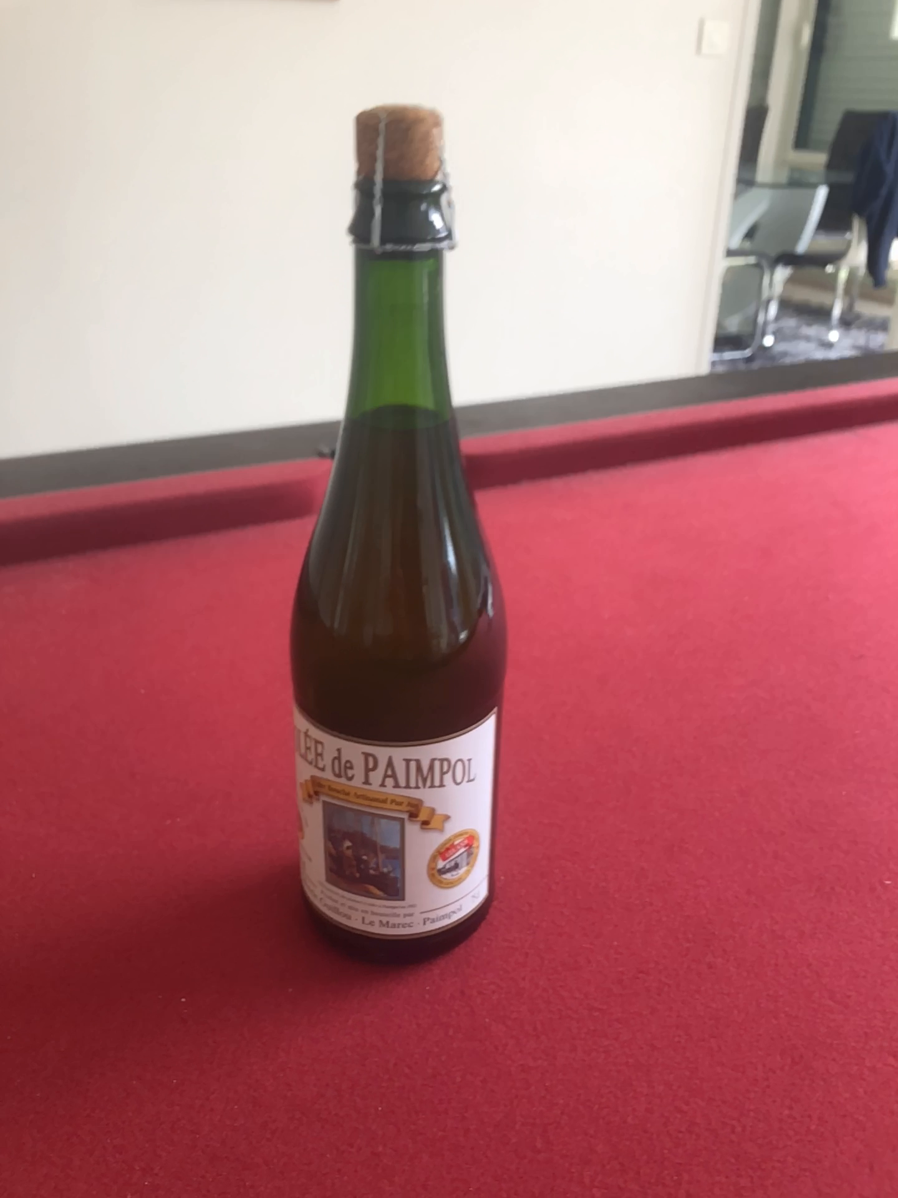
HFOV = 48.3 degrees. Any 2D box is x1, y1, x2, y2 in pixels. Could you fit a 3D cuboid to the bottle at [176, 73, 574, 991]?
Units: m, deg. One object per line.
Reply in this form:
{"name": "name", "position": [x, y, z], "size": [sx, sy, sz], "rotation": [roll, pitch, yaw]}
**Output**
{"name": "bottle", "position": [-0.018, -0.016, 0.357], "size": [0.090, 0.298, 0.101], "rotation": [7, 27, 11]}
